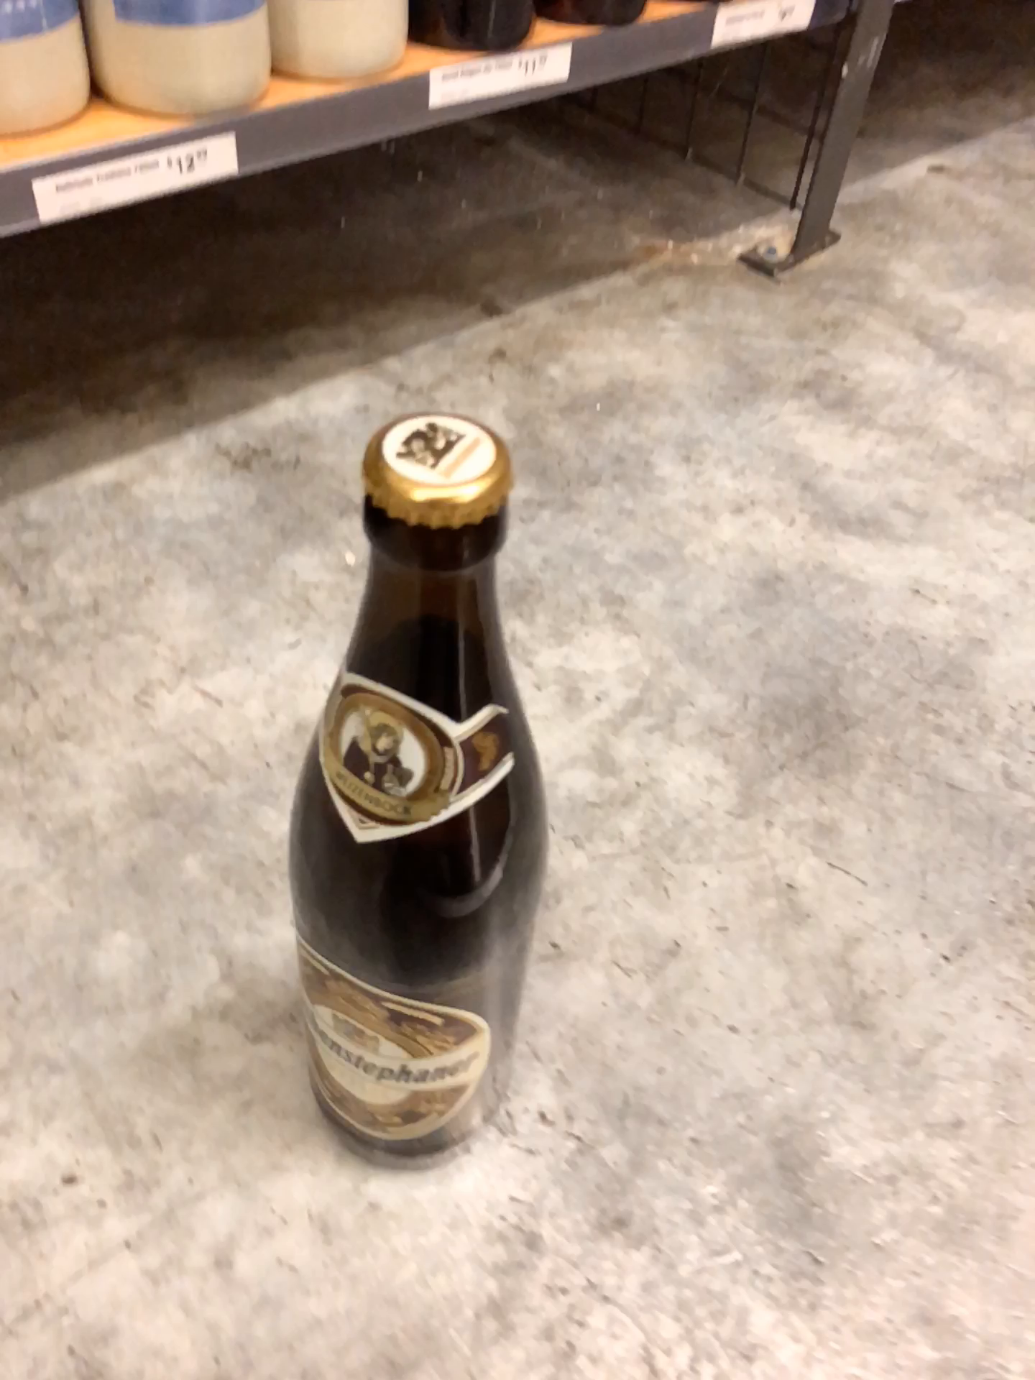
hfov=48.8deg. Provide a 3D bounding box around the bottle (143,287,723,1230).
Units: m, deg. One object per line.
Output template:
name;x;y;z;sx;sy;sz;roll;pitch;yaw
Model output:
bottle;-0.022;0.041;0.284;0.070;0.249;0.070;3;47;-3
